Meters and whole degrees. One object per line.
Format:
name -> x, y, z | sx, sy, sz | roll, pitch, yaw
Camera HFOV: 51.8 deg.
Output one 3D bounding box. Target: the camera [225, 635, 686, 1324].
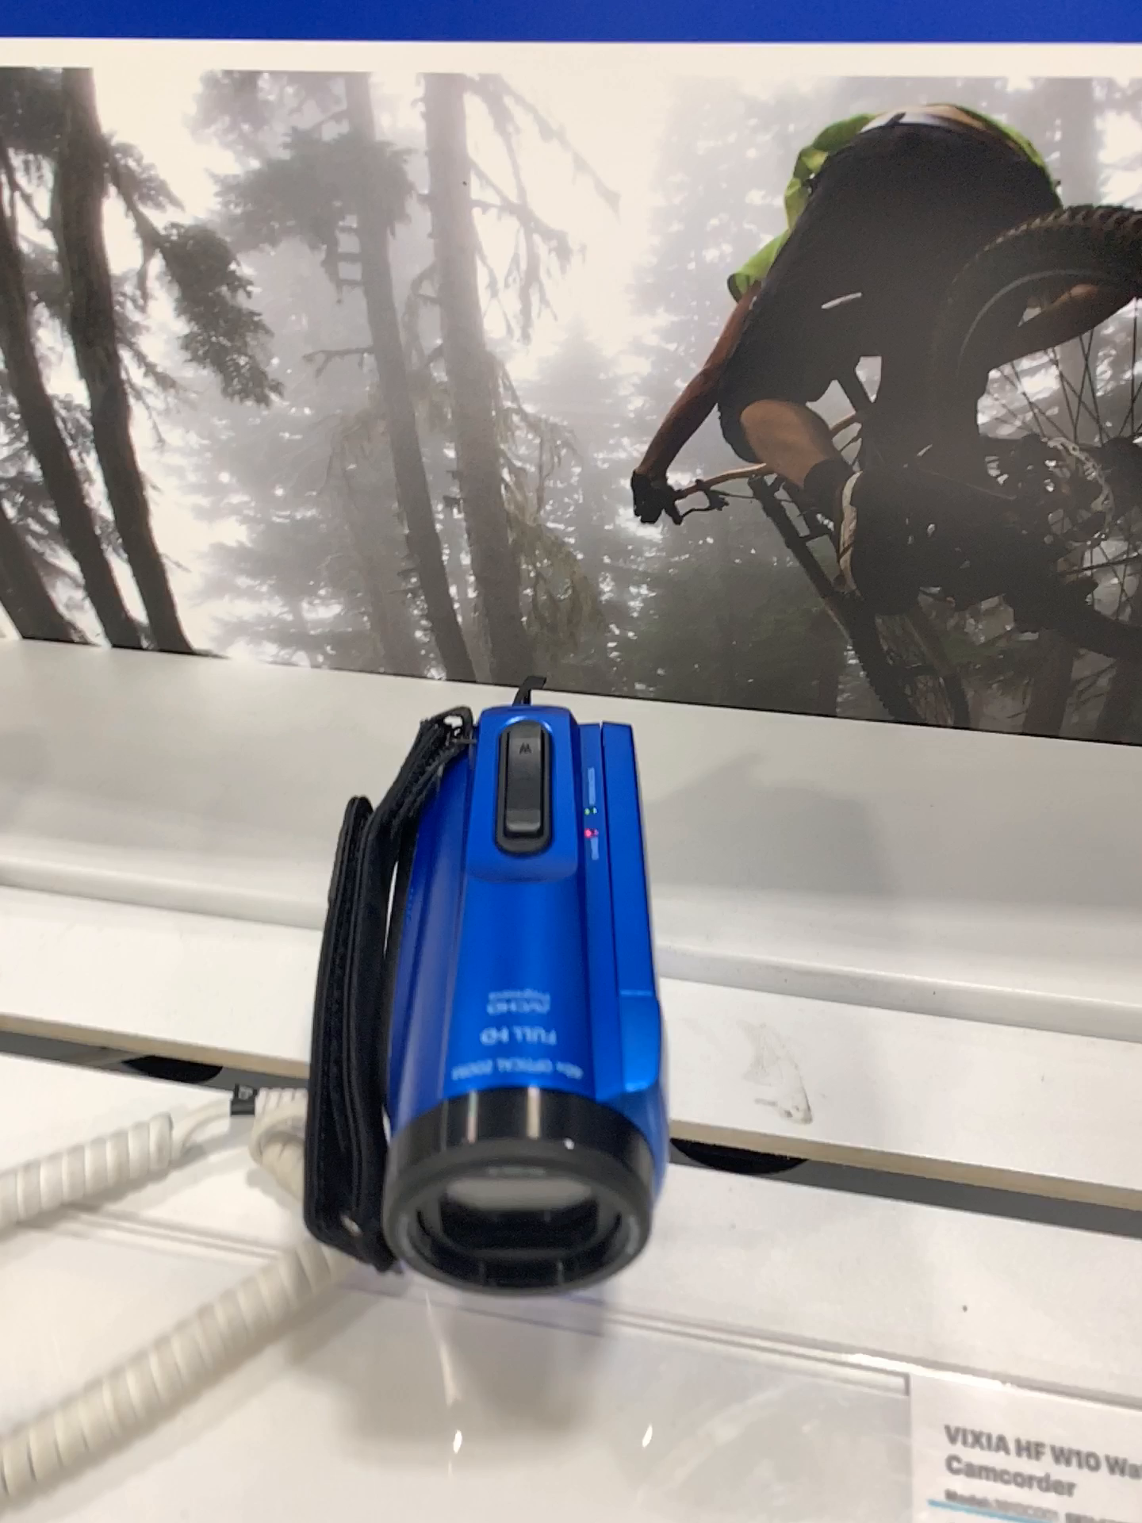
camera -> -0.019, 0.037, 0.258 | 0.072, 0.057, 0.144 | -1, 40, 0
